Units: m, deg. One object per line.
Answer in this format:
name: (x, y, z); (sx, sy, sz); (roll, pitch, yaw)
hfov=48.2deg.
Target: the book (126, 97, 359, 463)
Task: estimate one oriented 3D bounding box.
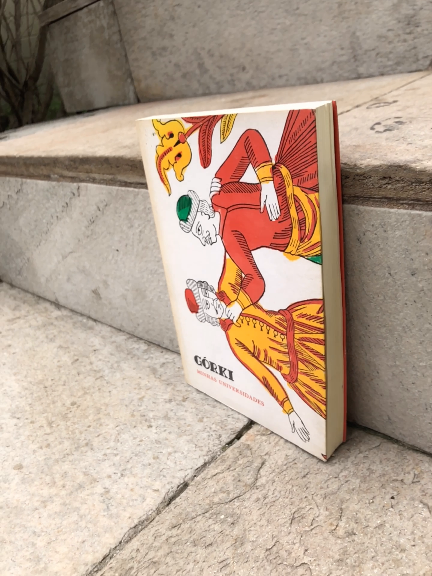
book: (0.014, -0.009, 0.294); (0.030, 0.189, 0.142); (-25, 28, -36)
